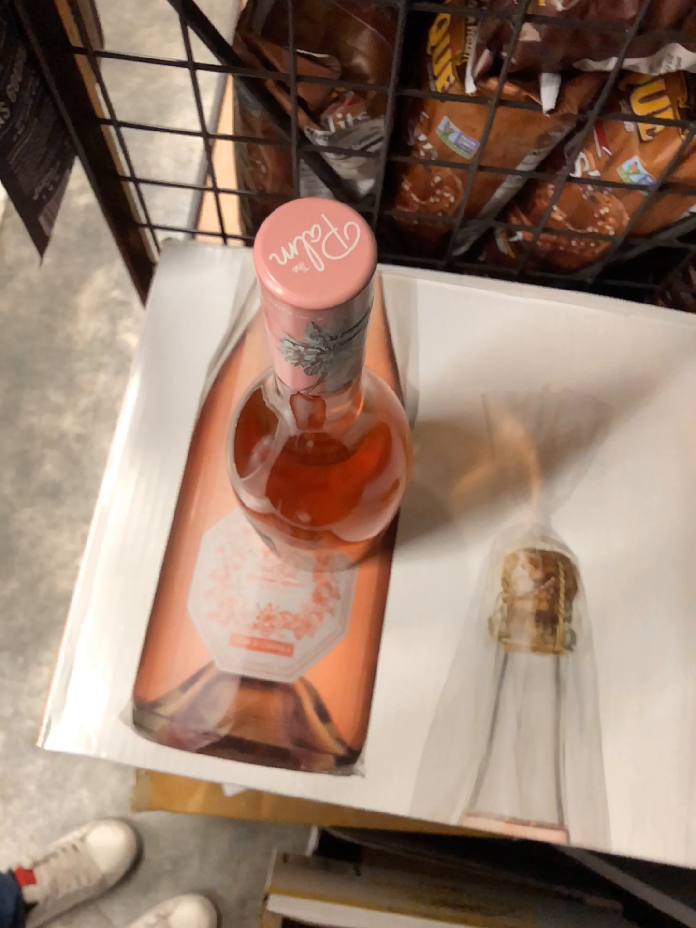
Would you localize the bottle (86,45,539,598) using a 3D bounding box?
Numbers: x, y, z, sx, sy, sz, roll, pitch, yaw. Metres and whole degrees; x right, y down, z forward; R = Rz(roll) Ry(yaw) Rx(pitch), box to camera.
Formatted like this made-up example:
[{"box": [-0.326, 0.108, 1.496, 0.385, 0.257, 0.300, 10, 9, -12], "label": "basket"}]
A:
[{"box": [-0.011, -0.014, 0.317, 0.090, 0.287, 0.087, 1, 73, -2], "label": "bottle"}]
